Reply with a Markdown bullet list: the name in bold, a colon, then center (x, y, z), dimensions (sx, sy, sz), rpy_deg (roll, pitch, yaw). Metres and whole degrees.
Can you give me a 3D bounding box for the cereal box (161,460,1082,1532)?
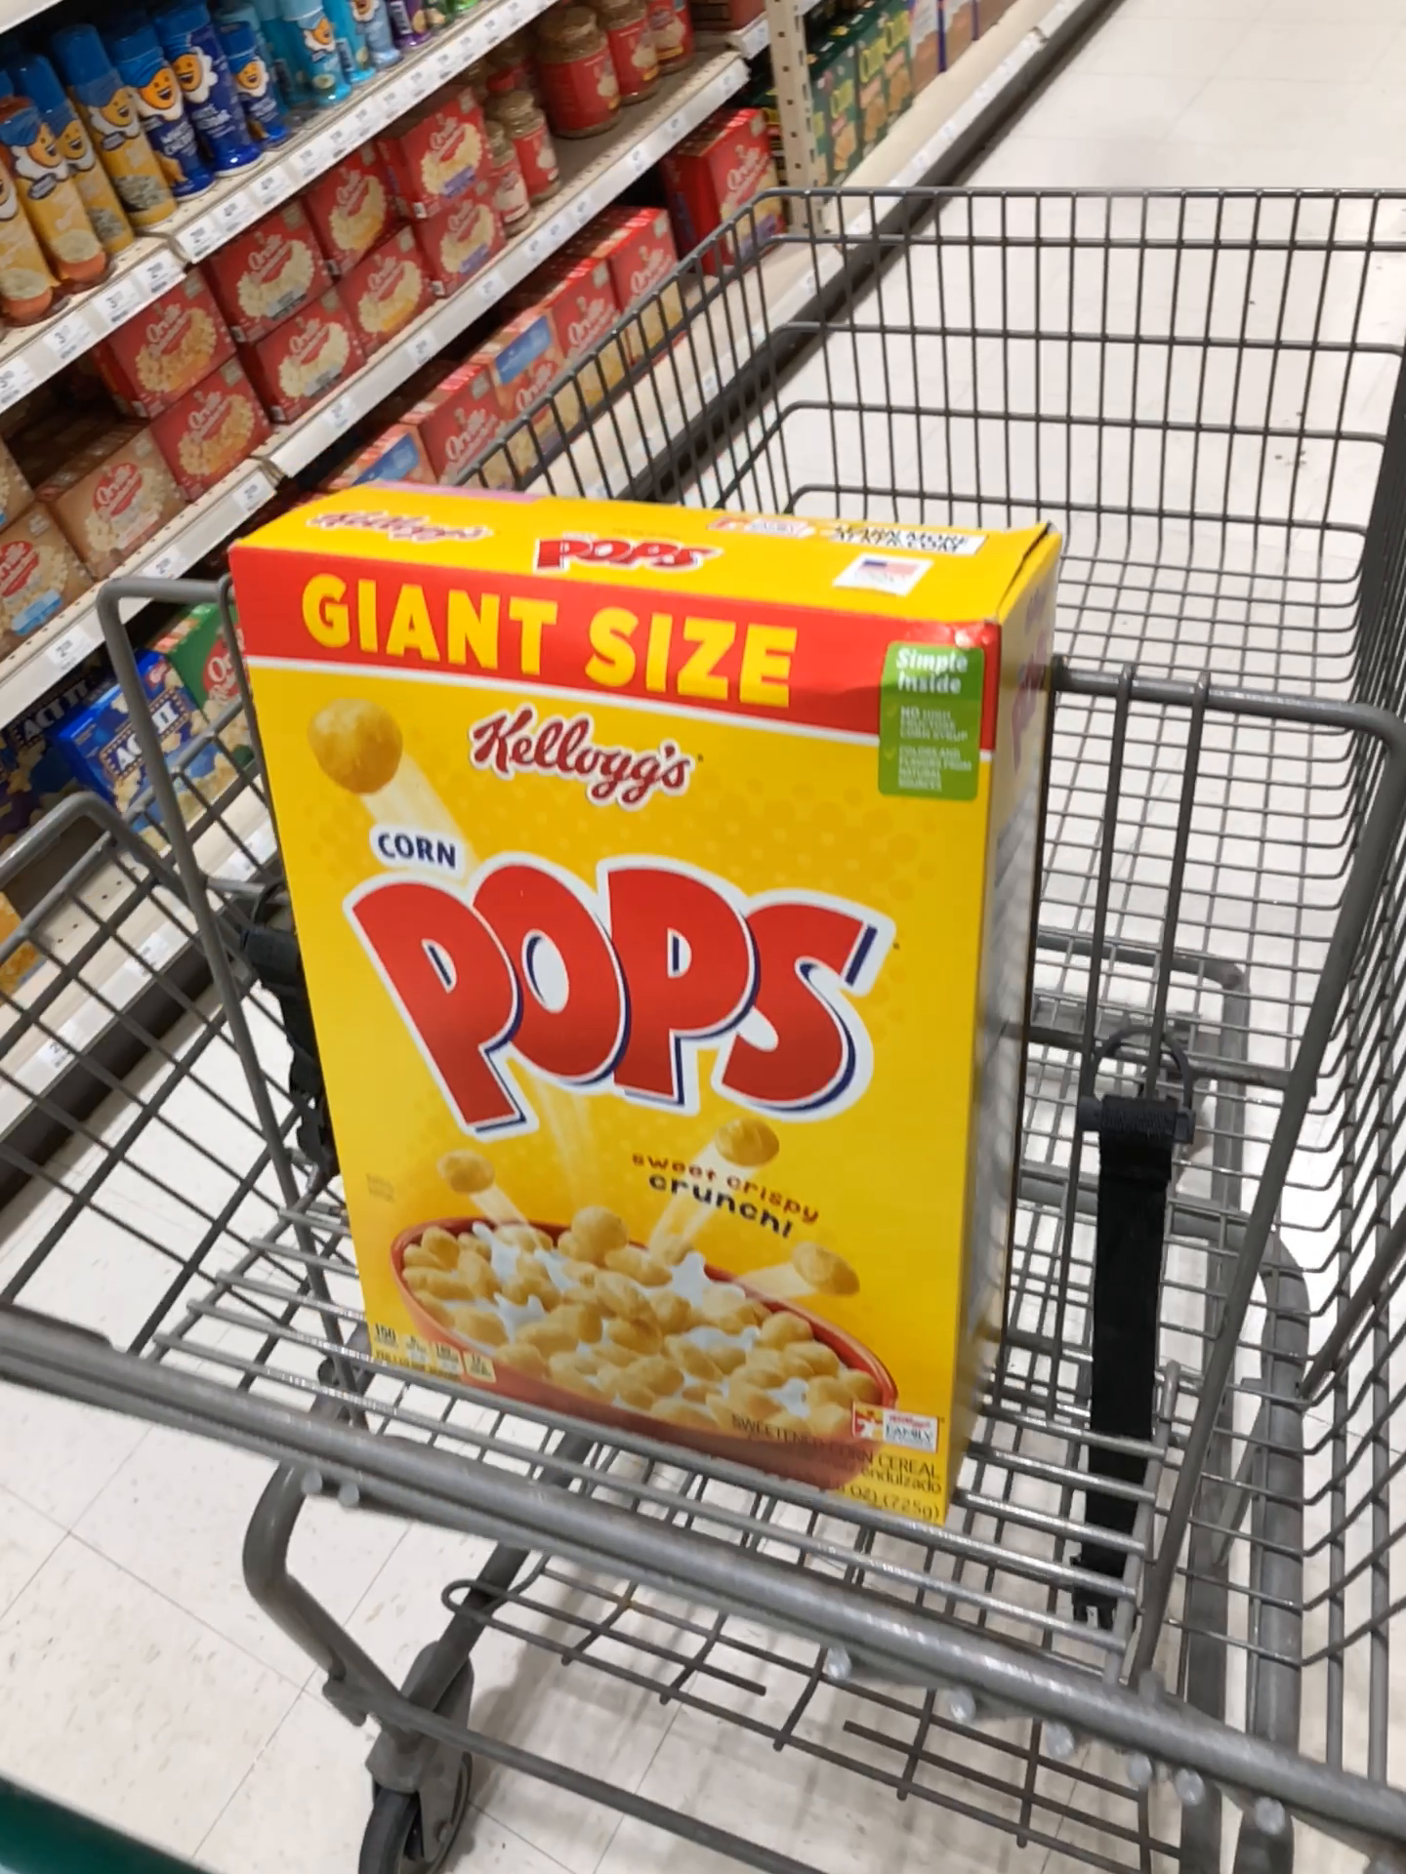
- **cereal box**: center (-0.020, 0.024, 0.523), dimensions (0.250, 0.329, 0.080), rpy_deg (10, 33, 20)
